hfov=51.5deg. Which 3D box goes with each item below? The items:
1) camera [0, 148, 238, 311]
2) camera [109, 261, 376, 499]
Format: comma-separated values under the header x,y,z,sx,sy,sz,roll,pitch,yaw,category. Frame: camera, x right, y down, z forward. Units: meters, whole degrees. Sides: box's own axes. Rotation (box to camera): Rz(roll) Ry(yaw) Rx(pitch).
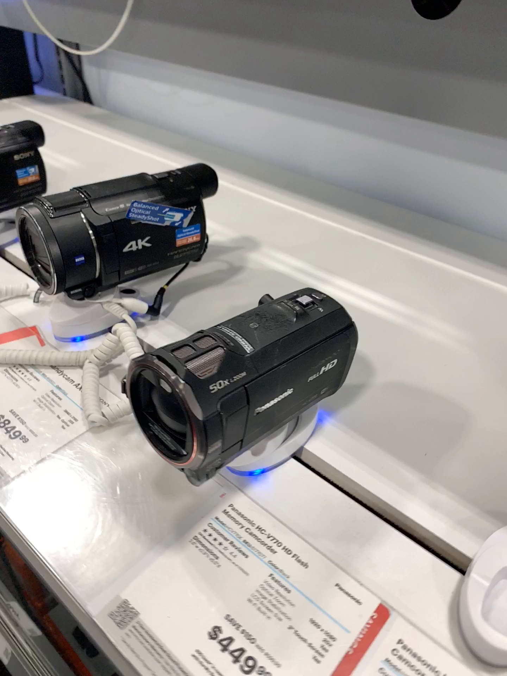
x,y,z,sx,sy,sz,roll,pitch,yaw,category
-0.100,-0.095,0.424,0.166,0.073,0.071,-26,46,-36,camera
-0.002,0.013,0.298,0.065,0.061,0.139,31,40,32,camera
